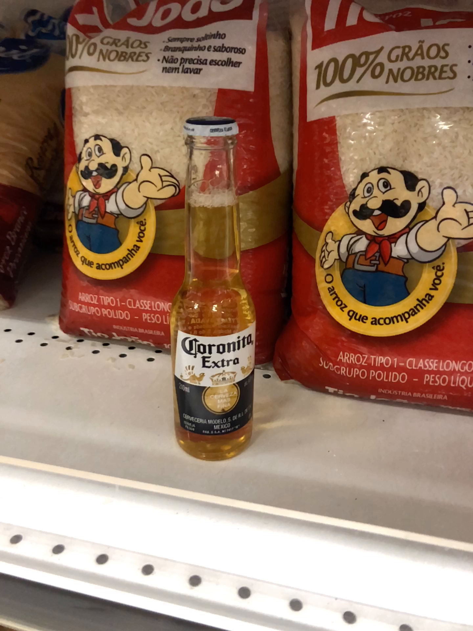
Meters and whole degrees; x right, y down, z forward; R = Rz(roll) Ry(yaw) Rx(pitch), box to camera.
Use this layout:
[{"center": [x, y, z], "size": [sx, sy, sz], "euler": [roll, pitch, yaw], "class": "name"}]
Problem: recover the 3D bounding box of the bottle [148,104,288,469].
[{"center": [-0.012, -0.012, 0.304], "size": [0.060, 0.198, 0.060], "euler": [0, 27, 0], "class": "bottle"}]
